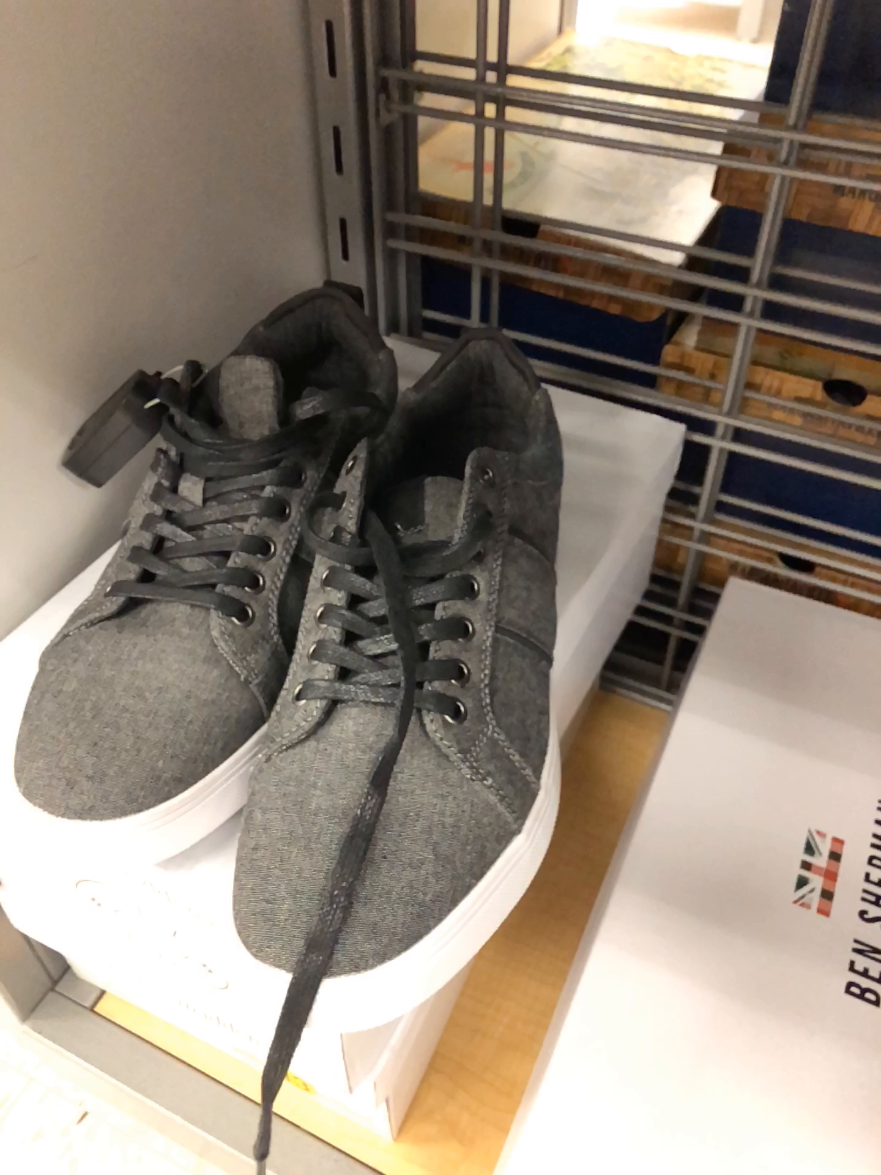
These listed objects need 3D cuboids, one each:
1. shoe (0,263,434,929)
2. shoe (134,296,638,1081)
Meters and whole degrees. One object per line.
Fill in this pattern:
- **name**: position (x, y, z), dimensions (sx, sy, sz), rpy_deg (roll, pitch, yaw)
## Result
- **shoe**: position (-0.087, -0.019, 0.393), dimensions (0.107, 0.099, 0.262), rpy_deg (10, 45, 10)
- **shoe**: position (0.005, 0.009, 0.356), dimensions (0.107, 0.099, 0.272), rpy_deg (7, 44, 8)
